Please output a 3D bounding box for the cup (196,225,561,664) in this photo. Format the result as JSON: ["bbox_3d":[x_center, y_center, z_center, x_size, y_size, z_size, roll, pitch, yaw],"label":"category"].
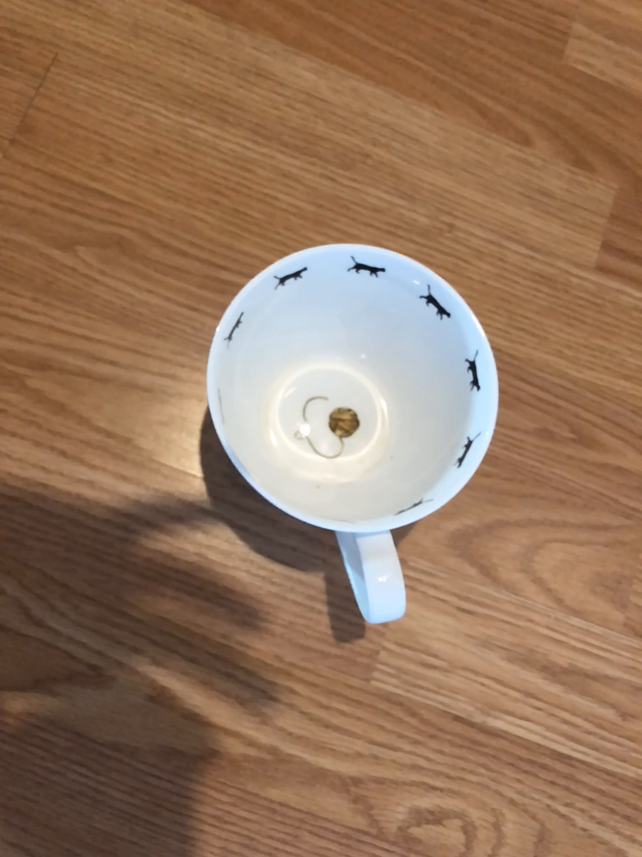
[{"bbox_3d":[0.017,0.007,0.324,0.120,0.080,0.160,-8,81,-10],"label":"cup"}]
